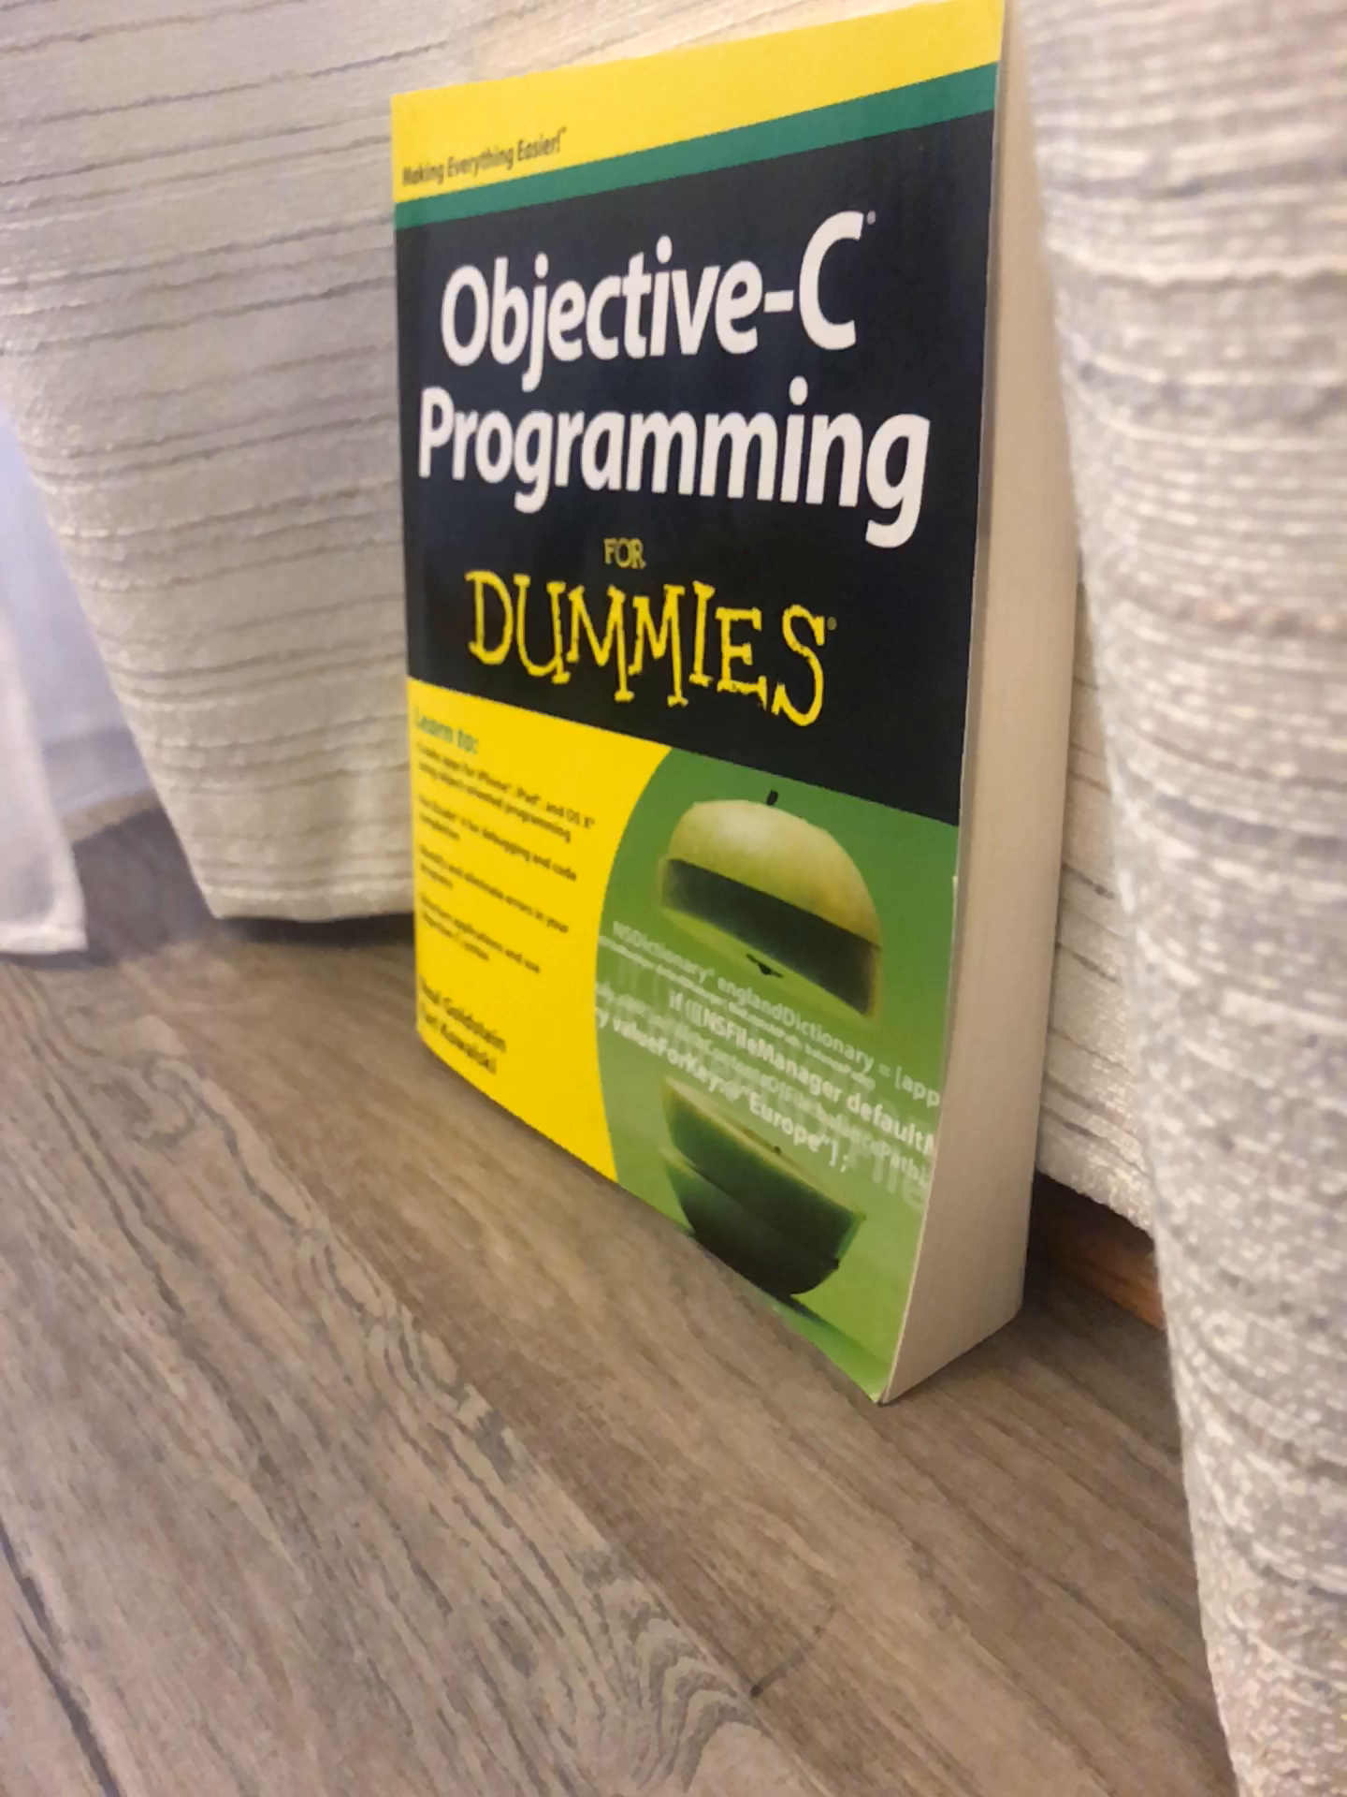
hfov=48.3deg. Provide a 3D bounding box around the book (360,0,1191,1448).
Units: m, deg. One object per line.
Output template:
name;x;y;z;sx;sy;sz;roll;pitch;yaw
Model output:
book;0.000;-0.041;0.303;0.033;0.230;0.184;-14;25;-35
